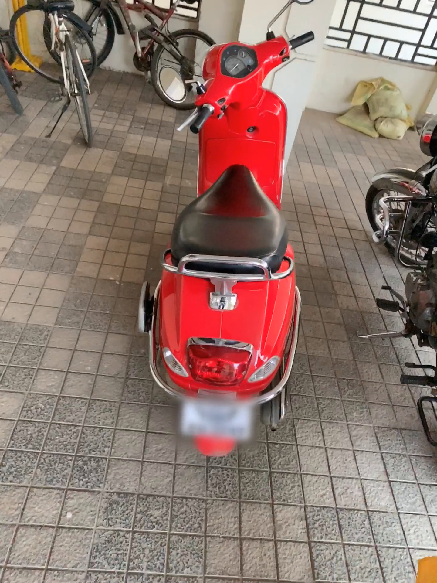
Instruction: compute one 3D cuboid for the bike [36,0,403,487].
[{"bbox_3d":[-0.161,-0.326,1.787,0.681,1.261,1.556,5,42,-9],"label":"bike"}]
